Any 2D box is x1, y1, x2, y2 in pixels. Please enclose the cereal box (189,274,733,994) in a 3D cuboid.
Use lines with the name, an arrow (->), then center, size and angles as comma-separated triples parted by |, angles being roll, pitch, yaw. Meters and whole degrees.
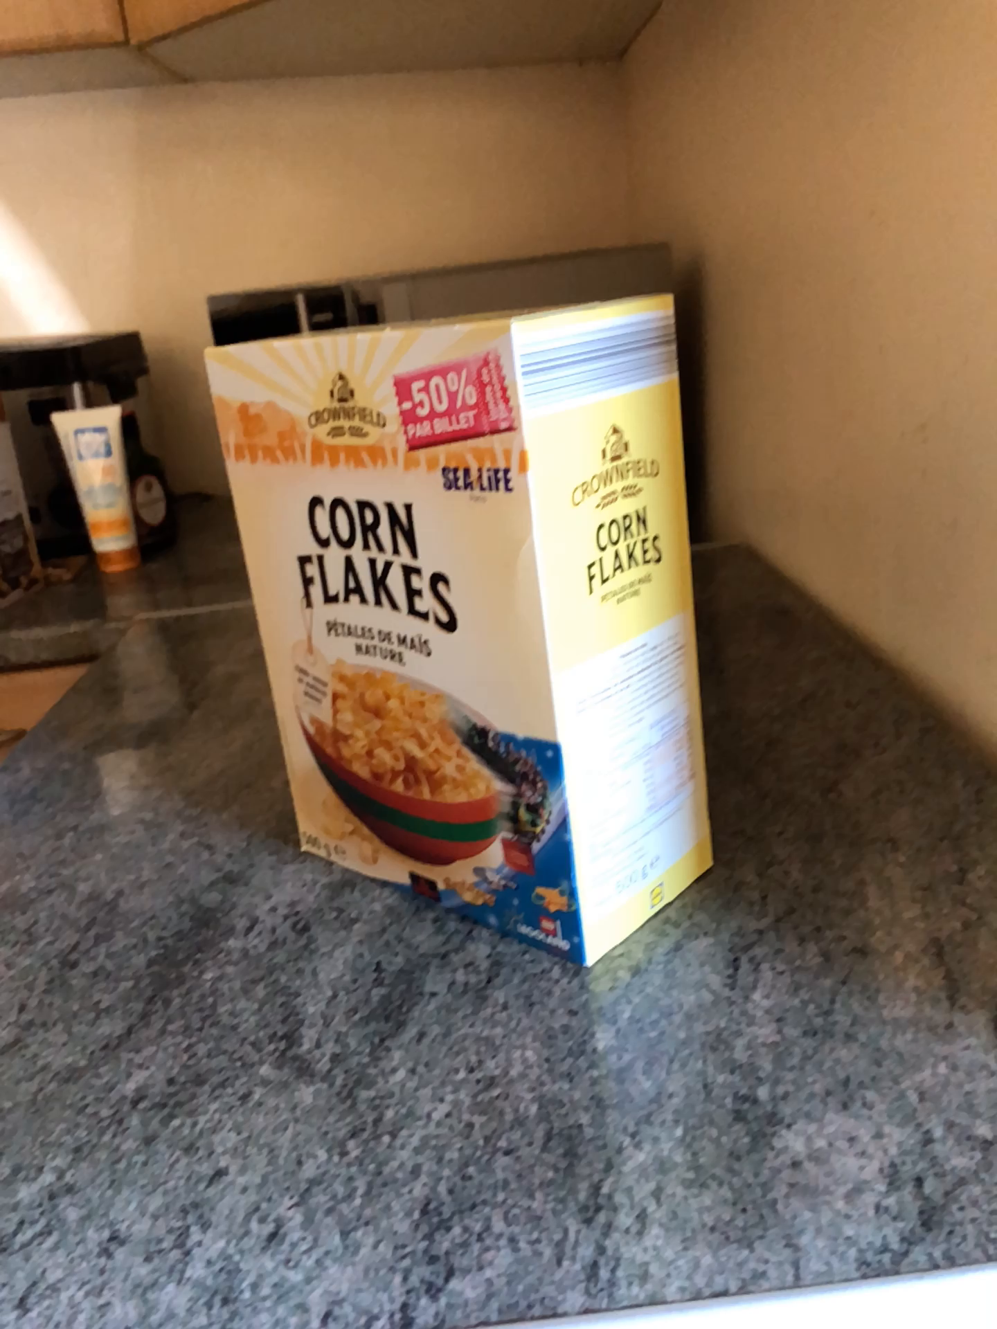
cereal box -> -0.015, -0.025, 0.487 | 0.200, 0.259, 0.100 | 12, 26, 42
